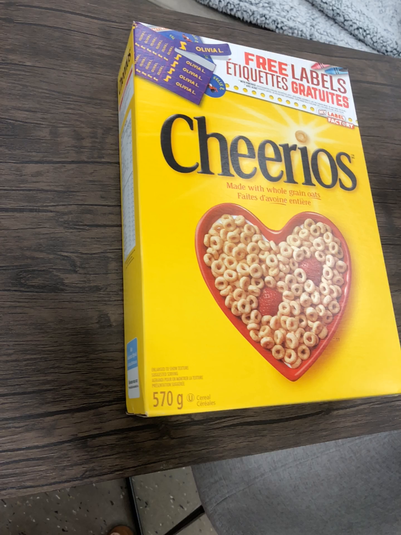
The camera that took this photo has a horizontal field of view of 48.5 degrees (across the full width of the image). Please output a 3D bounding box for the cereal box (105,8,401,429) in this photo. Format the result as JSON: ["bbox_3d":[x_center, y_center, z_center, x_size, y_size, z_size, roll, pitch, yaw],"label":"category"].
[{"bbox_3d":[0.042,-0.042,0.422,0.240,0.100,0.340,1,74,-21],"label":"cereal box"}]
